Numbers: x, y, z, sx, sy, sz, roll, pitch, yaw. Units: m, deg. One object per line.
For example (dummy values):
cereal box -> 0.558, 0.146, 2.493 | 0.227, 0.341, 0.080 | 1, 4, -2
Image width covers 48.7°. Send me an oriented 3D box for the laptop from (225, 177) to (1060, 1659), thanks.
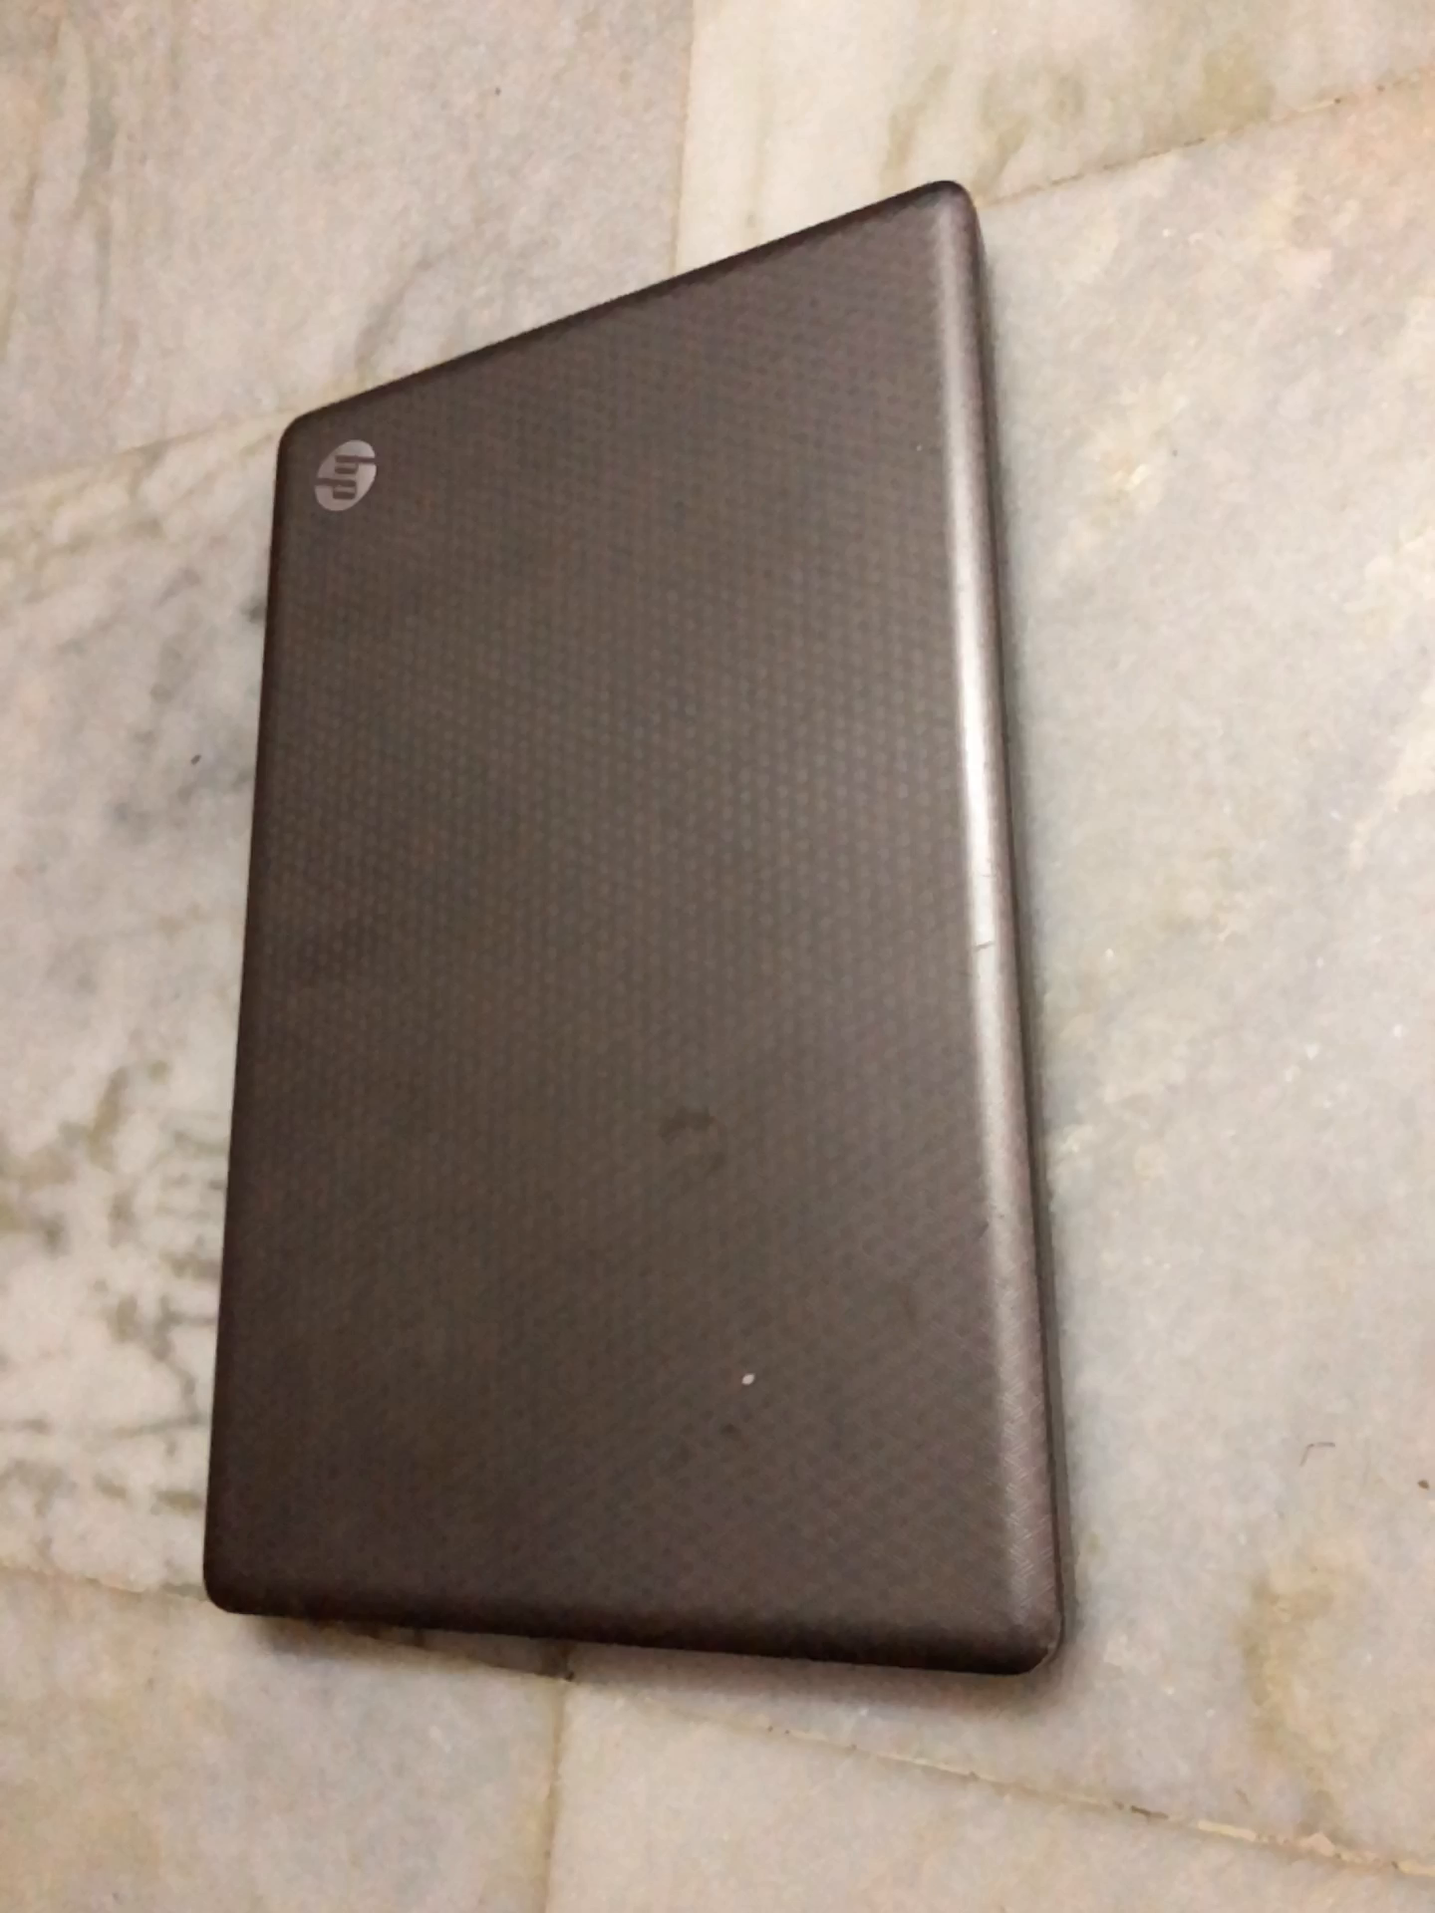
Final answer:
laptop -> -0.037, -0.017, 0.464 | 0.252, 0.003, 0.394 | -8, 74, 27
